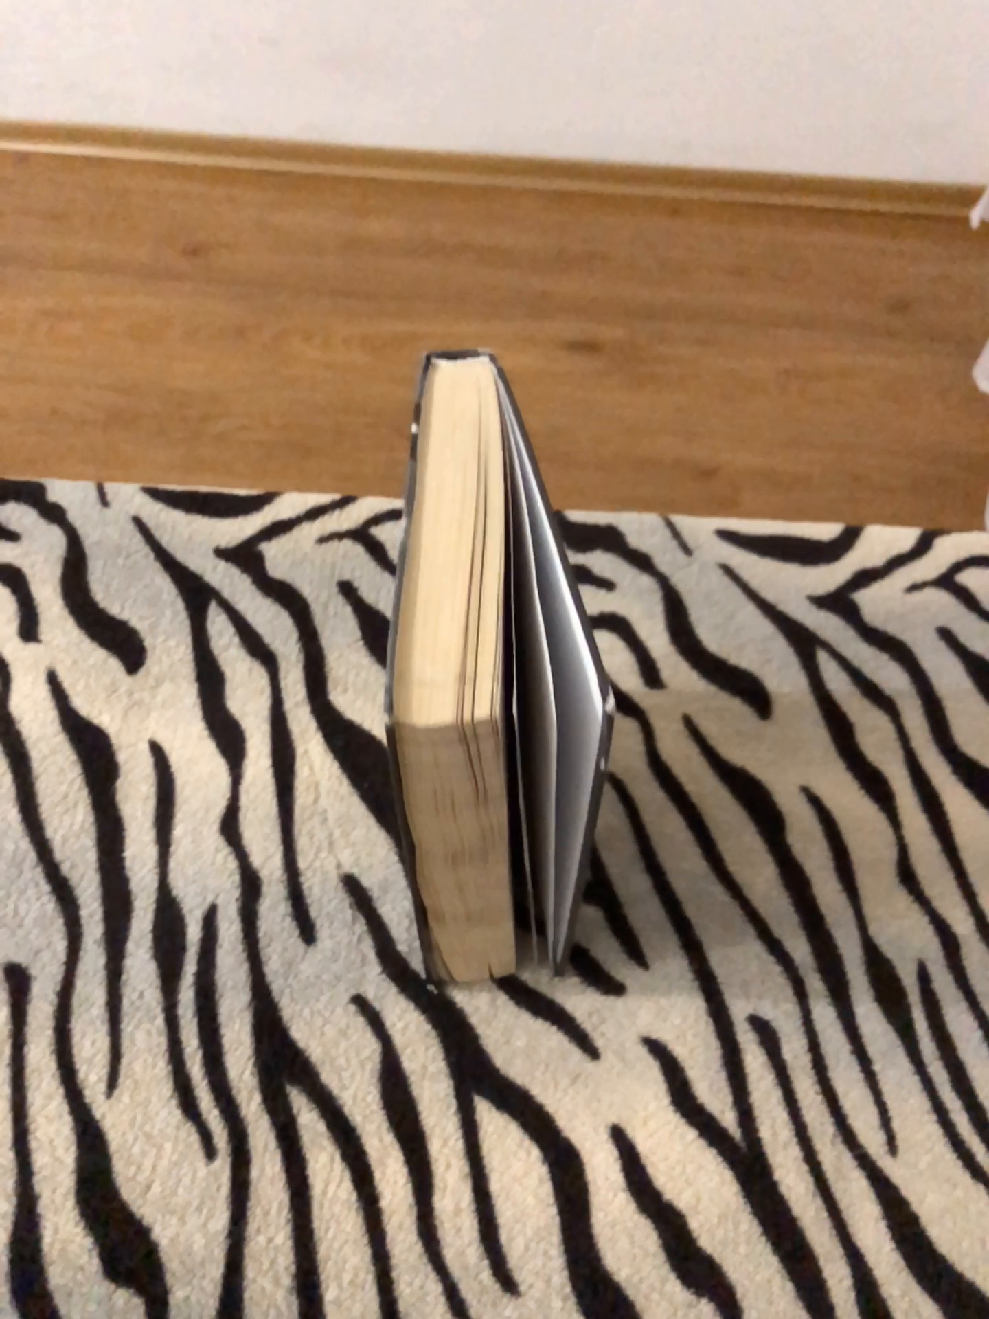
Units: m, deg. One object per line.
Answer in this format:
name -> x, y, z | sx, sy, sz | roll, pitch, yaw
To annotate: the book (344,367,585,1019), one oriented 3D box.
book -> -0.008, 0.023, 0.378 | 0.057, 0.191, 0.145 | 0, 56, -1
